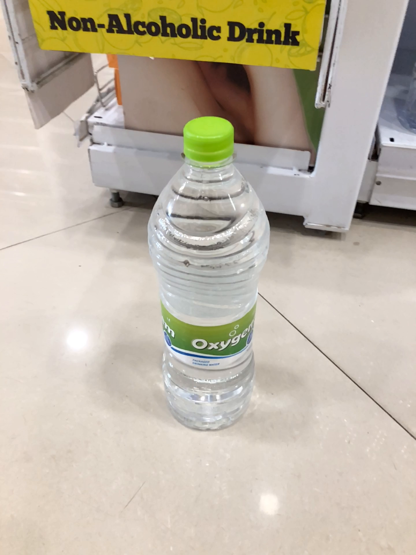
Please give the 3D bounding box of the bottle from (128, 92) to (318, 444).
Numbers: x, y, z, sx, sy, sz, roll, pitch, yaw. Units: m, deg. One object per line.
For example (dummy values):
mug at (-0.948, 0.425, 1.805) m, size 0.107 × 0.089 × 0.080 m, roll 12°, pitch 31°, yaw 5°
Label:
bottle at (0.003, 0.010, 0.344) m, size 0.090 × 0.258 × 0.080 m, roll -9°, pitch 41°, yaw -11°
